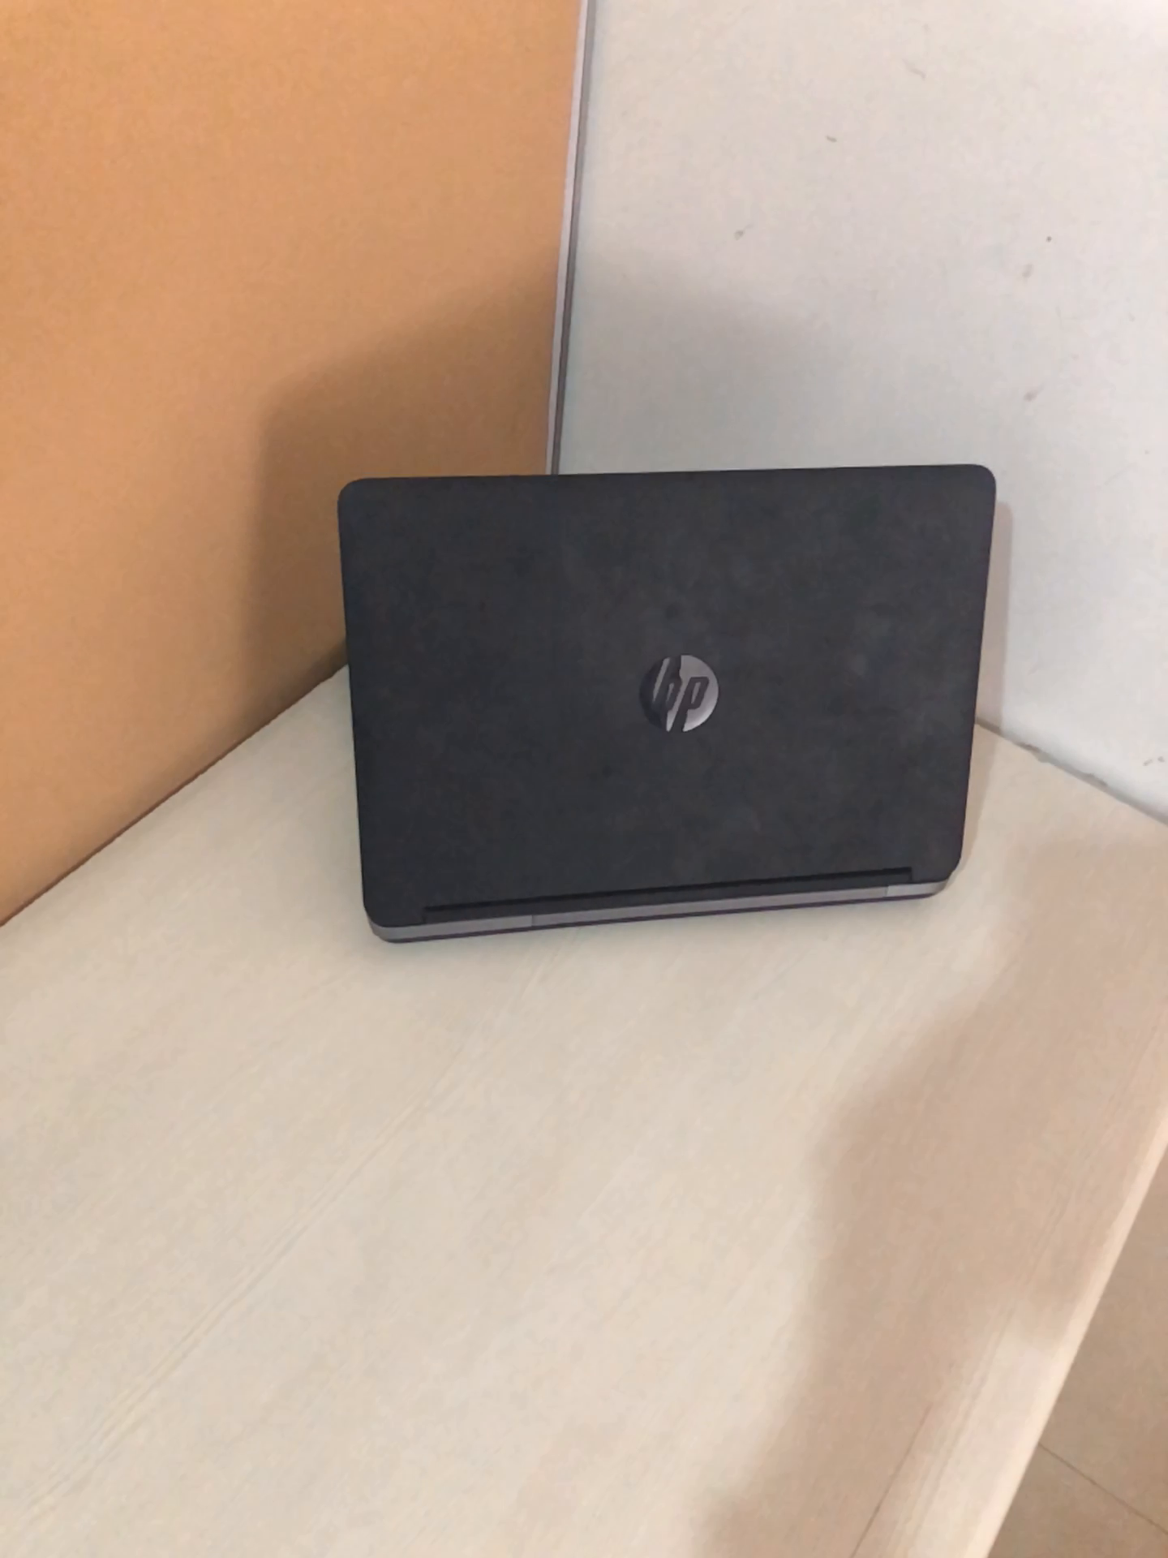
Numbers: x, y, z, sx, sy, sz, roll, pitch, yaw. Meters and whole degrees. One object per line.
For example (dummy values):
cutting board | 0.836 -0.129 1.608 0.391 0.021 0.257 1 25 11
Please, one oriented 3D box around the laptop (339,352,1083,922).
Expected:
laptop | 0.041 -0.083 0.699 0.318 0.193 0.228 -4 48 -11
